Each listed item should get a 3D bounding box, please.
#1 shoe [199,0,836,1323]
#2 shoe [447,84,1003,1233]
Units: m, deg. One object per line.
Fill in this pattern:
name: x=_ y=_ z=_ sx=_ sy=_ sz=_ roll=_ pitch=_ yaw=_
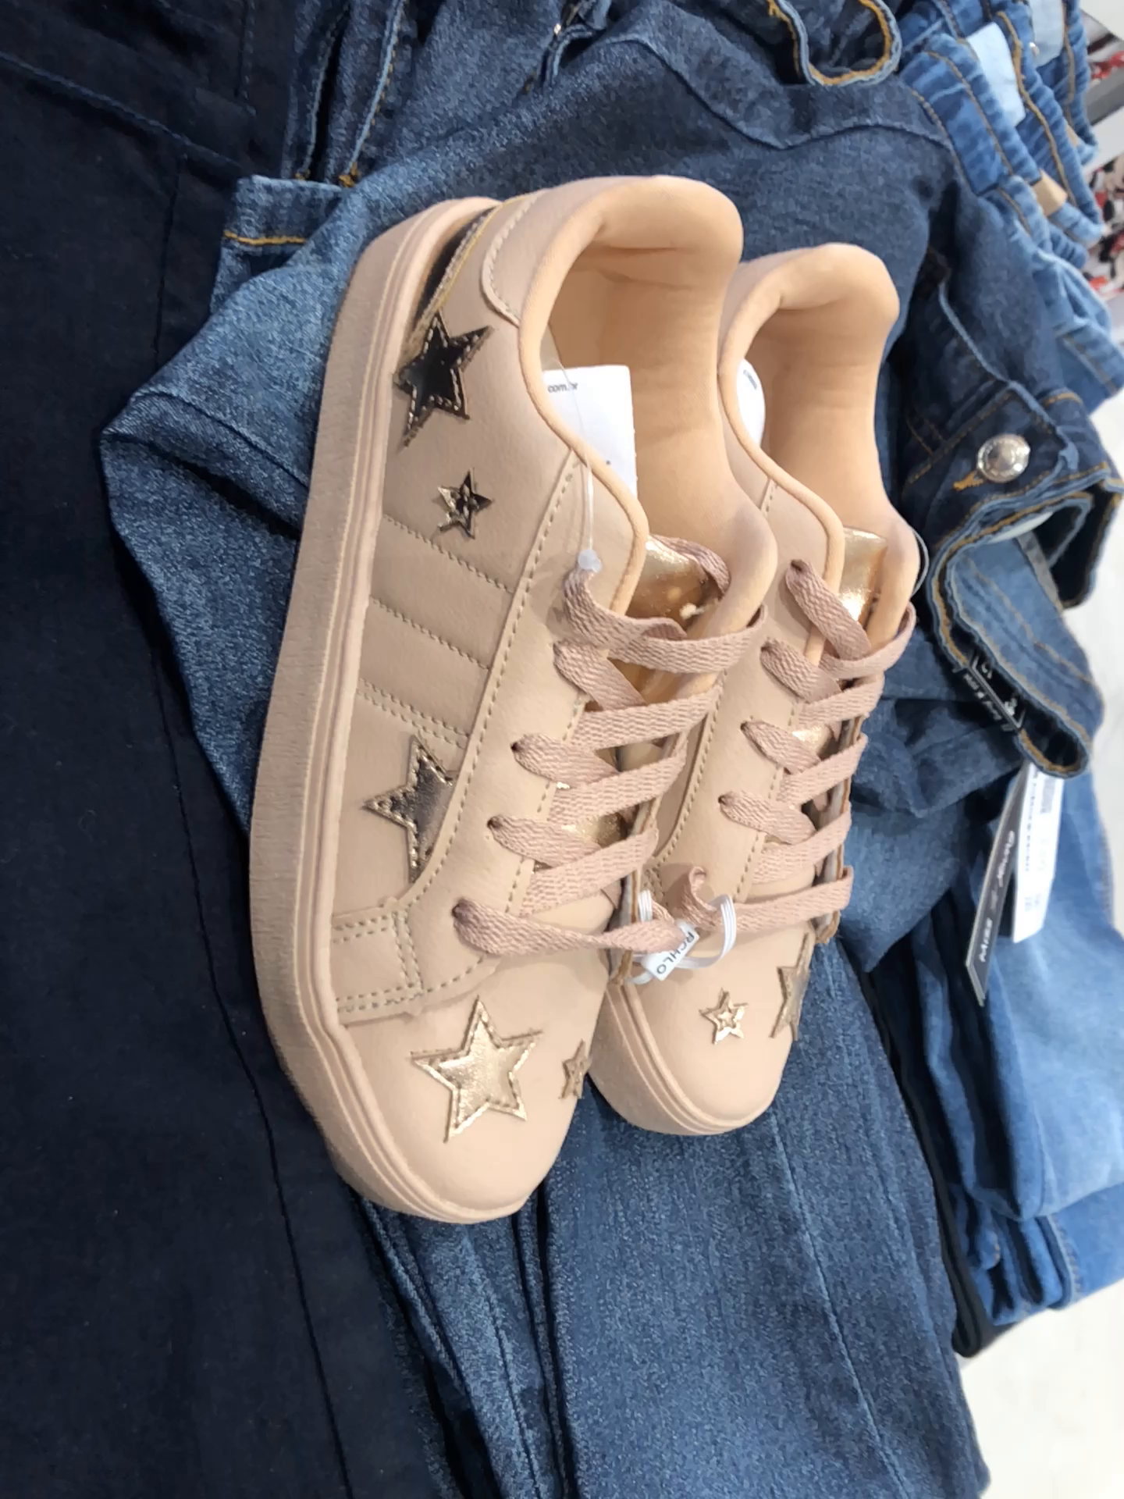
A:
shoe: x=-0.009 y=-0.022 z=0.284 sx=0.091 sy=0.089 sz=0.250 roll=8 pitch=84 yaw=-39
shoe: x=0.040 y=-0.019 z=0.331 sx=0.091 sy=0.089 sz=0.250 roll=1 pitch=83 yaw=-41
